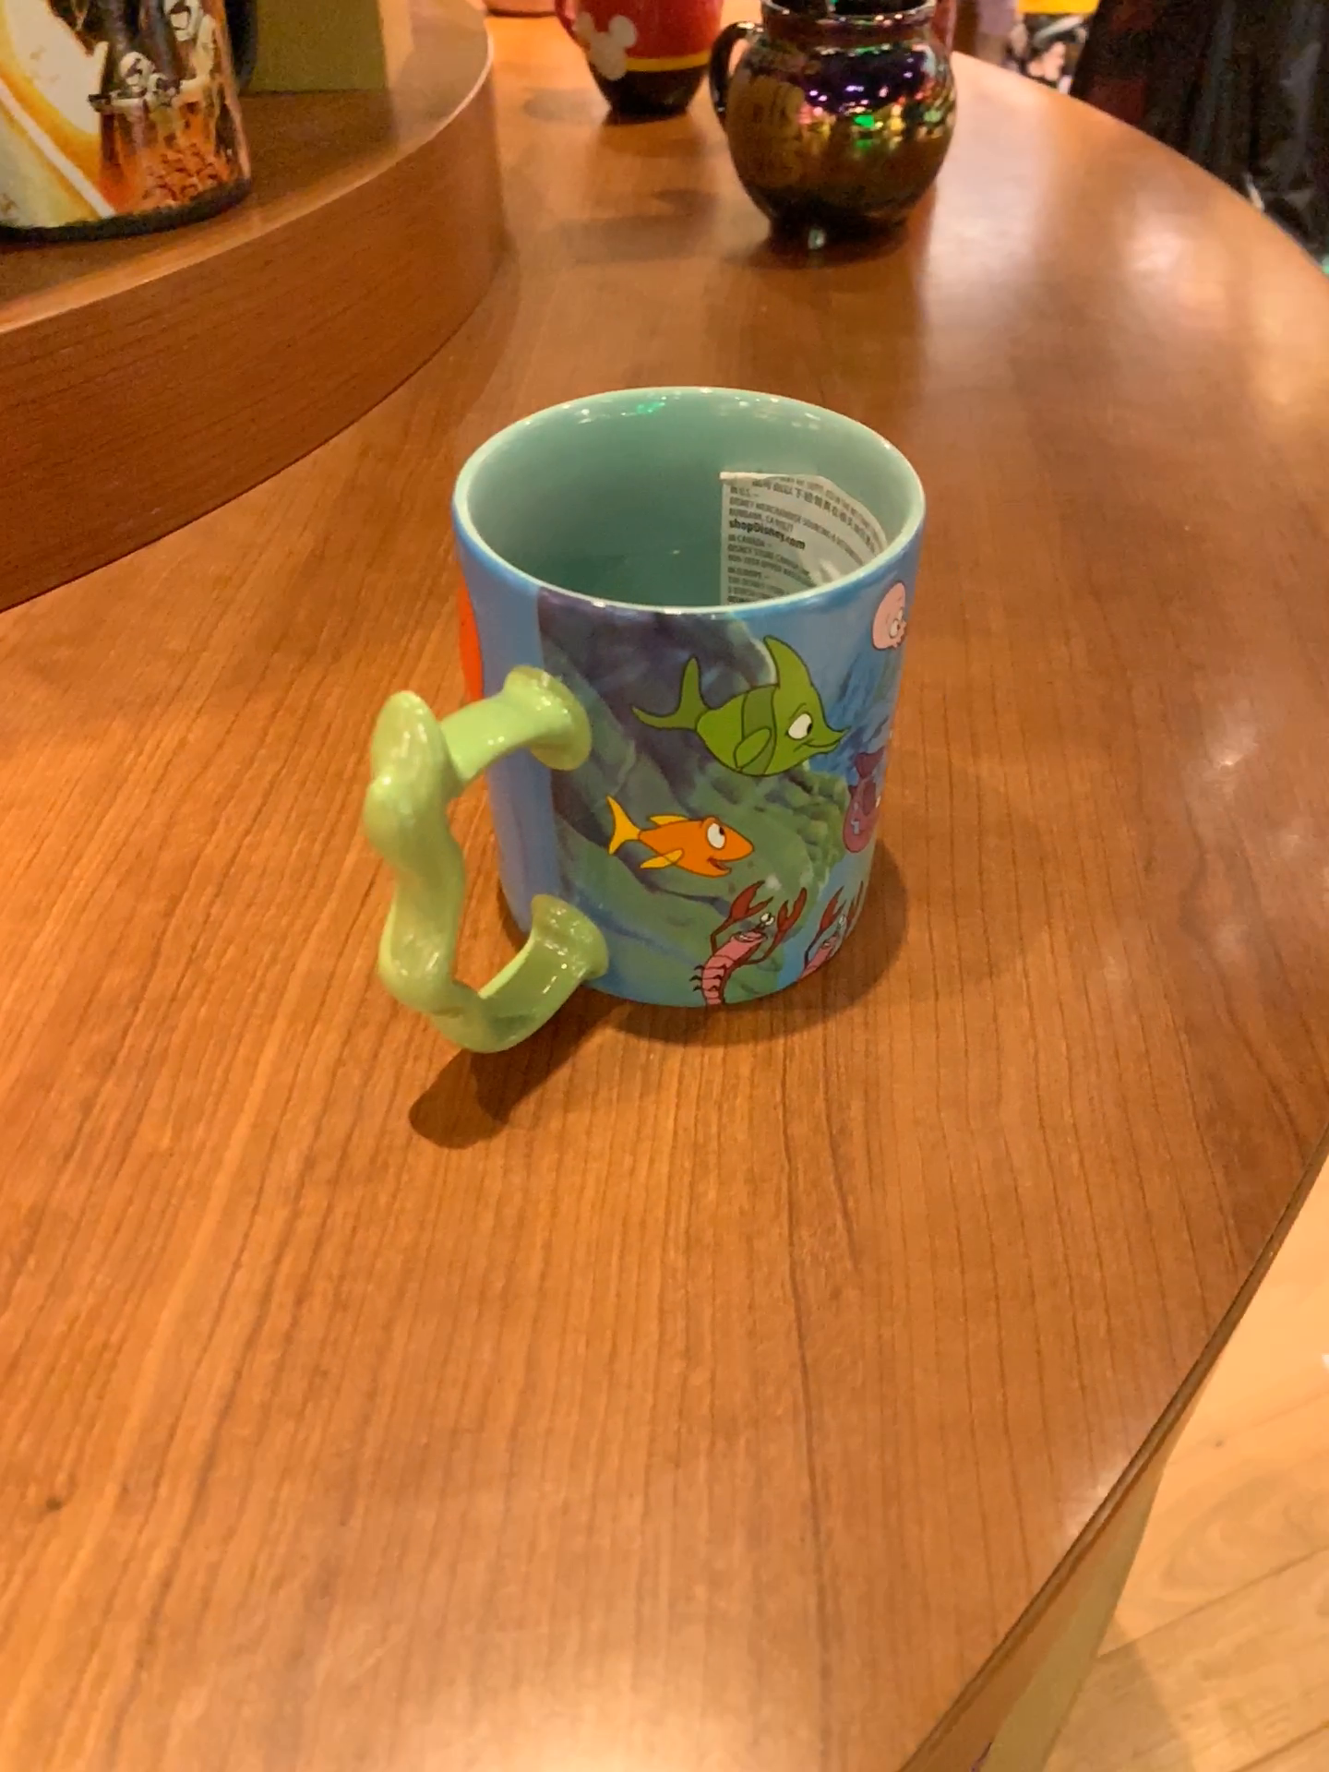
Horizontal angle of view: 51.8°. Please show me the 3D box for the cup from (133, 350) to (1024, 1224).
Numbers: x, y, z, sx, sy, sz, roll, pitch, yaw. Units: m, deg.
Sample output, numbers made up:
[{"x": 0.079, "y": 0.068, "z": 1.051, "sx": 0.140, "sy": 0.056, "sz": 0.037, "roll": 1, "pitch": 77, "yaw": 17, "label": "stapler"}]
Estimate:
[{"x": -0.012, "y": -0.028, "z": 0.281, "sx": 0.135, "sy": 0.101, "sz": 0.091, "roll": -33, "pitch": 52, "yaw": -31, "label": "cup"}]
